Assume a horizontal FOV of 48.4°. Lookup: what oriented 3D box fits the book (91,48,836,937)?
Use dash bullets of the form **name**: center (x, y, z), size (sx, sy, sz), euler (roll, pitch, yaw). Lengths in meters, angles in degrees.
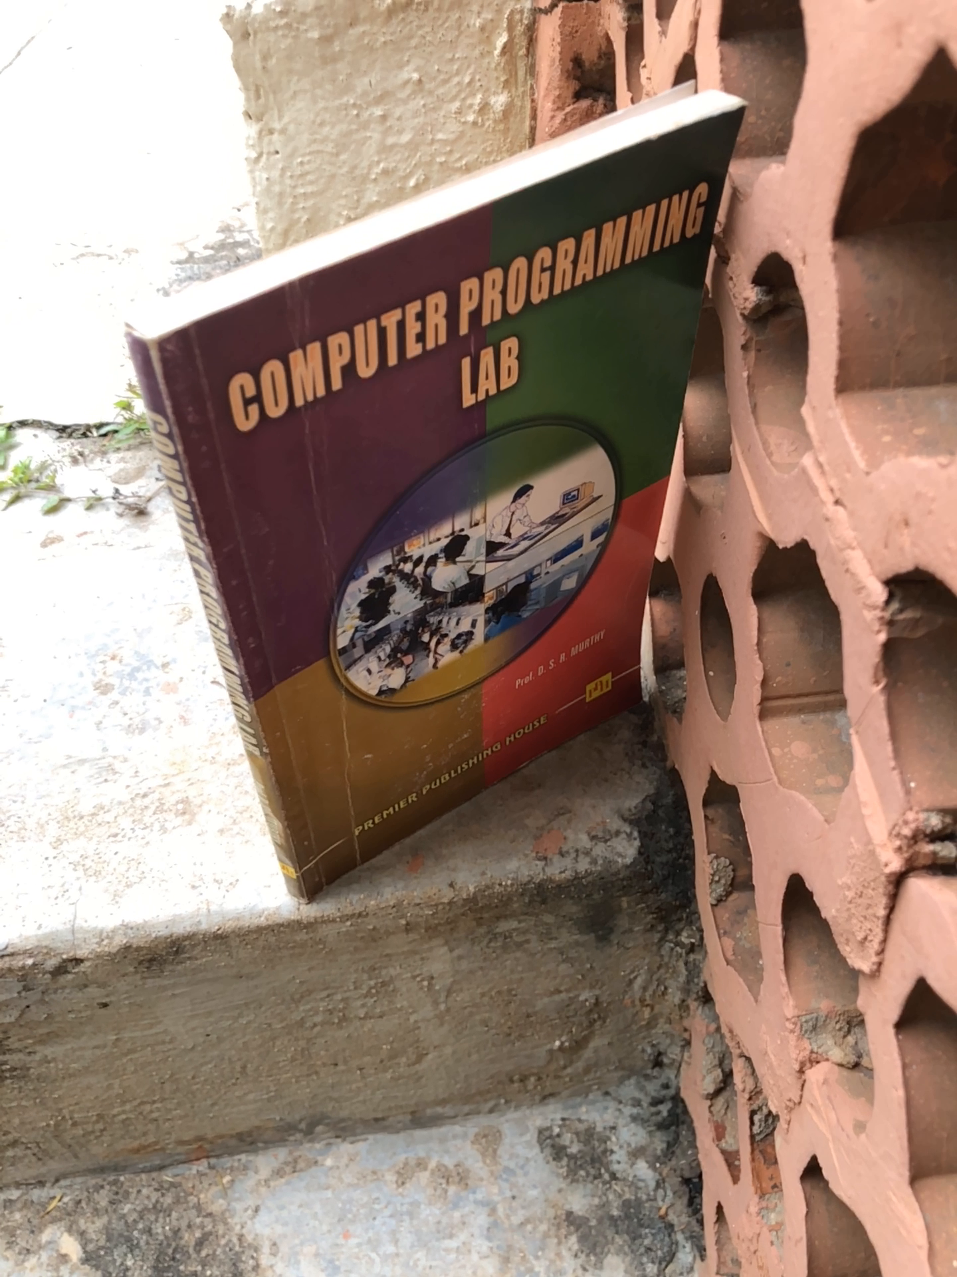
- **book**: center (0.004, -0.020, 0.320), size (0.180, 0.249, 0.020), euler (-31, 59, -24)
